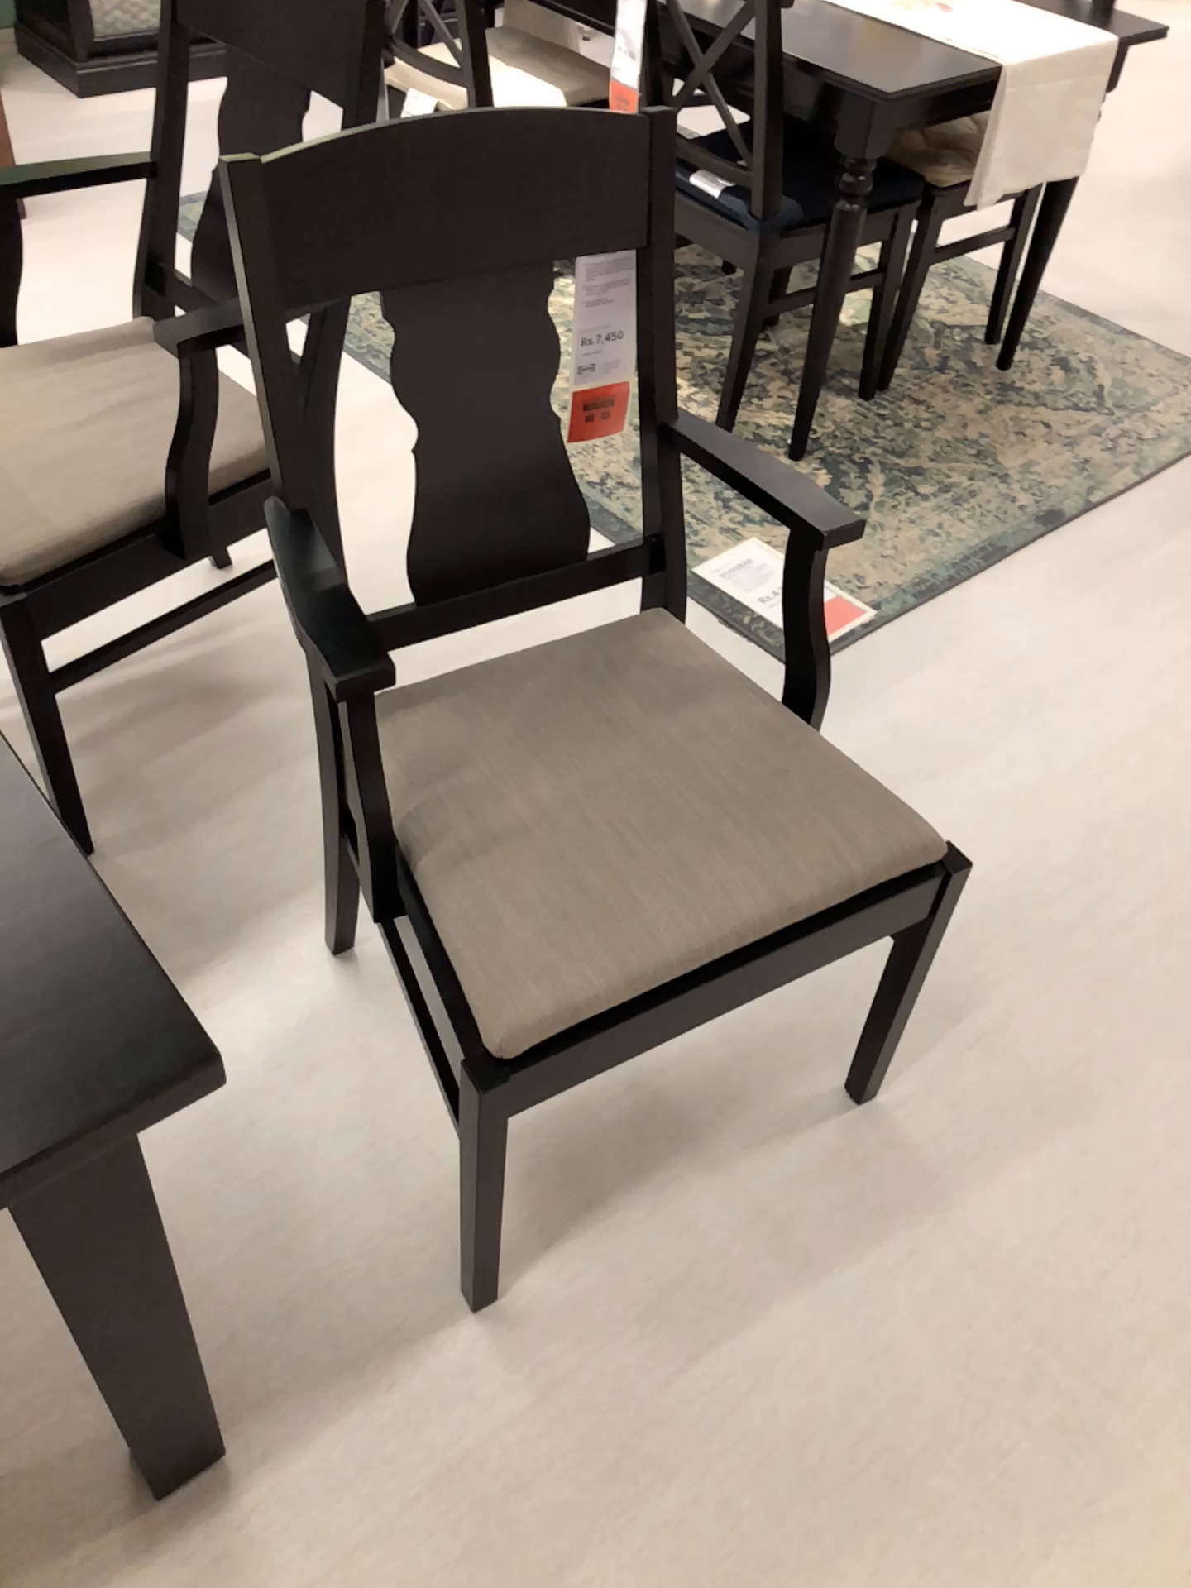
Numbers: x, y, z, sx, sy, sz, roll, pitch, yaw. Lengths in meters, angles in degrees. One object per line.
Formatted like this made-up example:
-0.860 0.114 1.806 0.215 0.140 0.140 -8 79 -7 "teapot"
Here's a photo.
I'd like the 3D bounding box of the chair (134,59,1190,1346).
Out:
0.009 -0.057 1.274 0.571 0.994 0.573 -21 51 -25 "chair"
